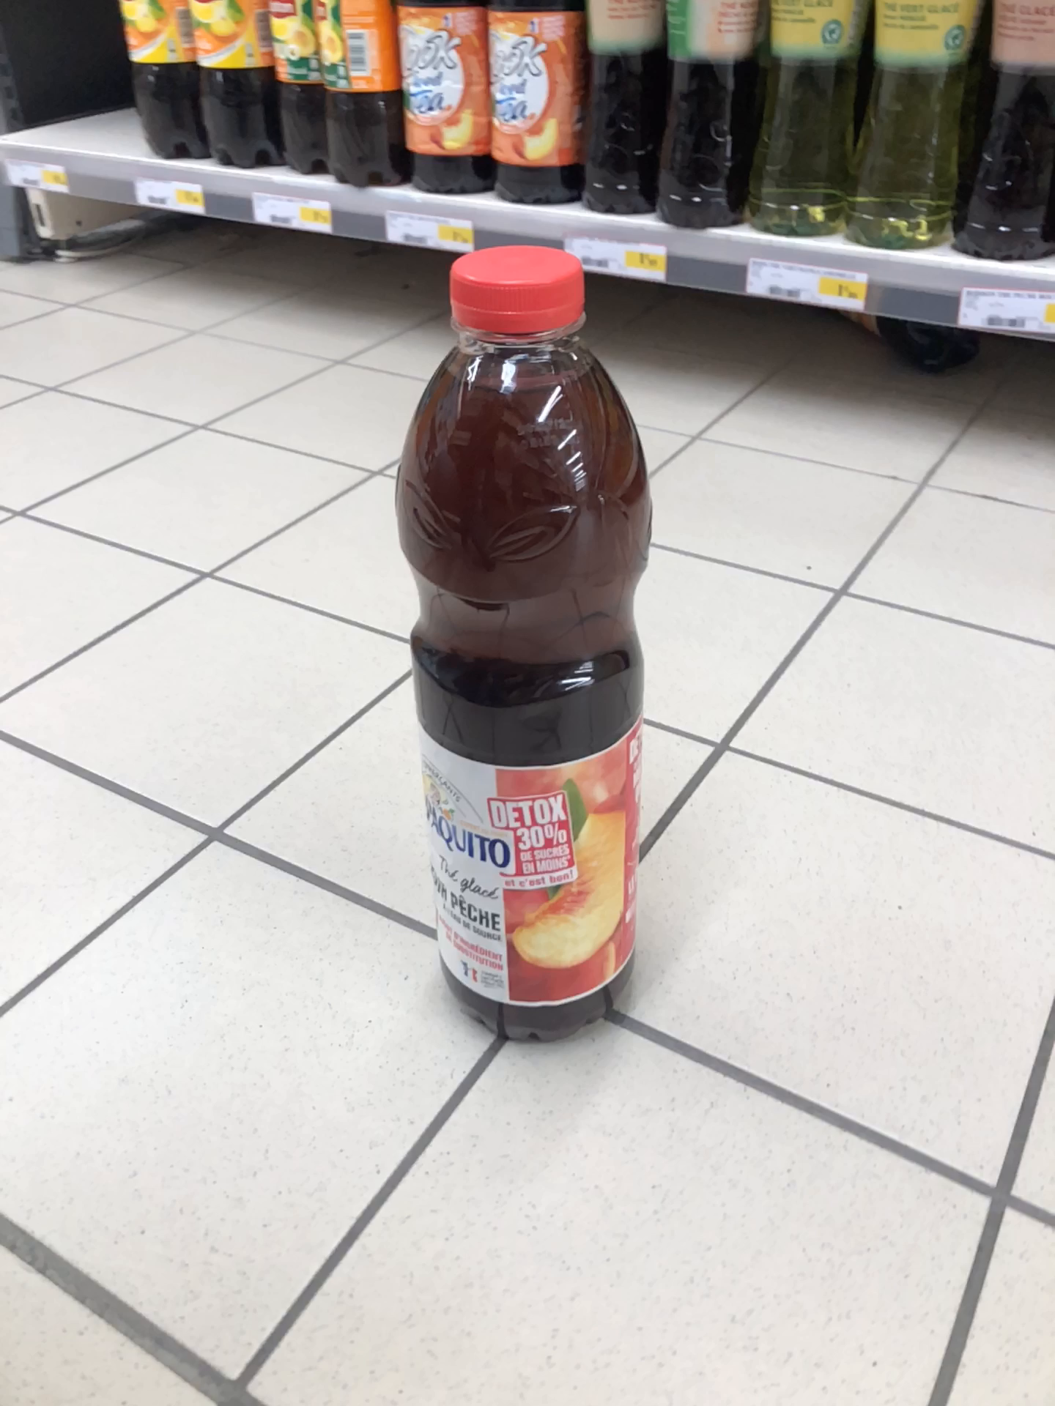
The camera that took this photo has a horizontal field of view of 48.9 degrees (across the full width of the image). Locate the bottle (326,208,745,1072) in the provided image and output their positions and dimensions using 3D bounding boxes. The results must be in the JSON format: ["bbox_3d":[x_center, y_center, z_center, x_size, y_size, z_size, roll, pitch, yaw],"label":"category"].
[{"bbox_3d":[0.007,-0.011,0.416,0.090,0.288,0.091,-1,34,0],"label":"bottle"}]
